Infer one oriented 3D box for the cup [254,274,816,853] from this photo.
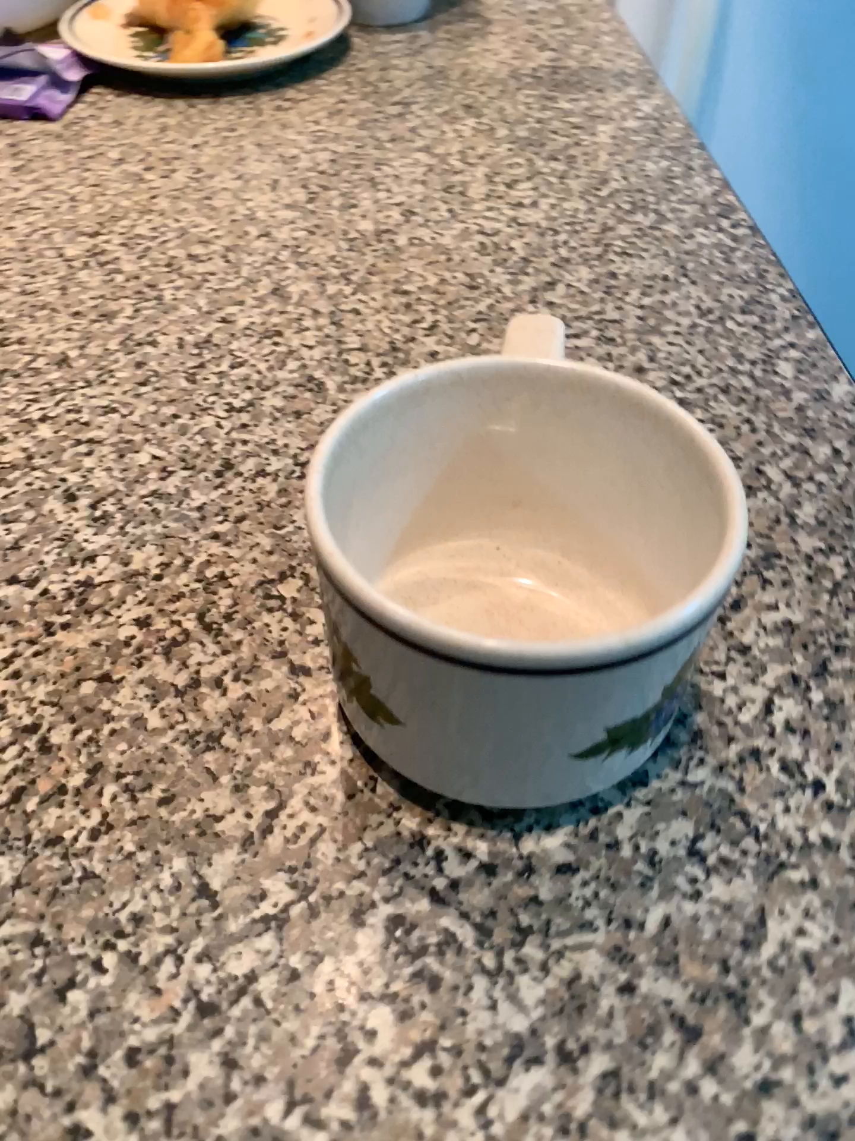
[{"bbox_3d":[0.021,-0.008,0.197,0.087,0.054,0.117,4,48,2],"label":"cup"}]
